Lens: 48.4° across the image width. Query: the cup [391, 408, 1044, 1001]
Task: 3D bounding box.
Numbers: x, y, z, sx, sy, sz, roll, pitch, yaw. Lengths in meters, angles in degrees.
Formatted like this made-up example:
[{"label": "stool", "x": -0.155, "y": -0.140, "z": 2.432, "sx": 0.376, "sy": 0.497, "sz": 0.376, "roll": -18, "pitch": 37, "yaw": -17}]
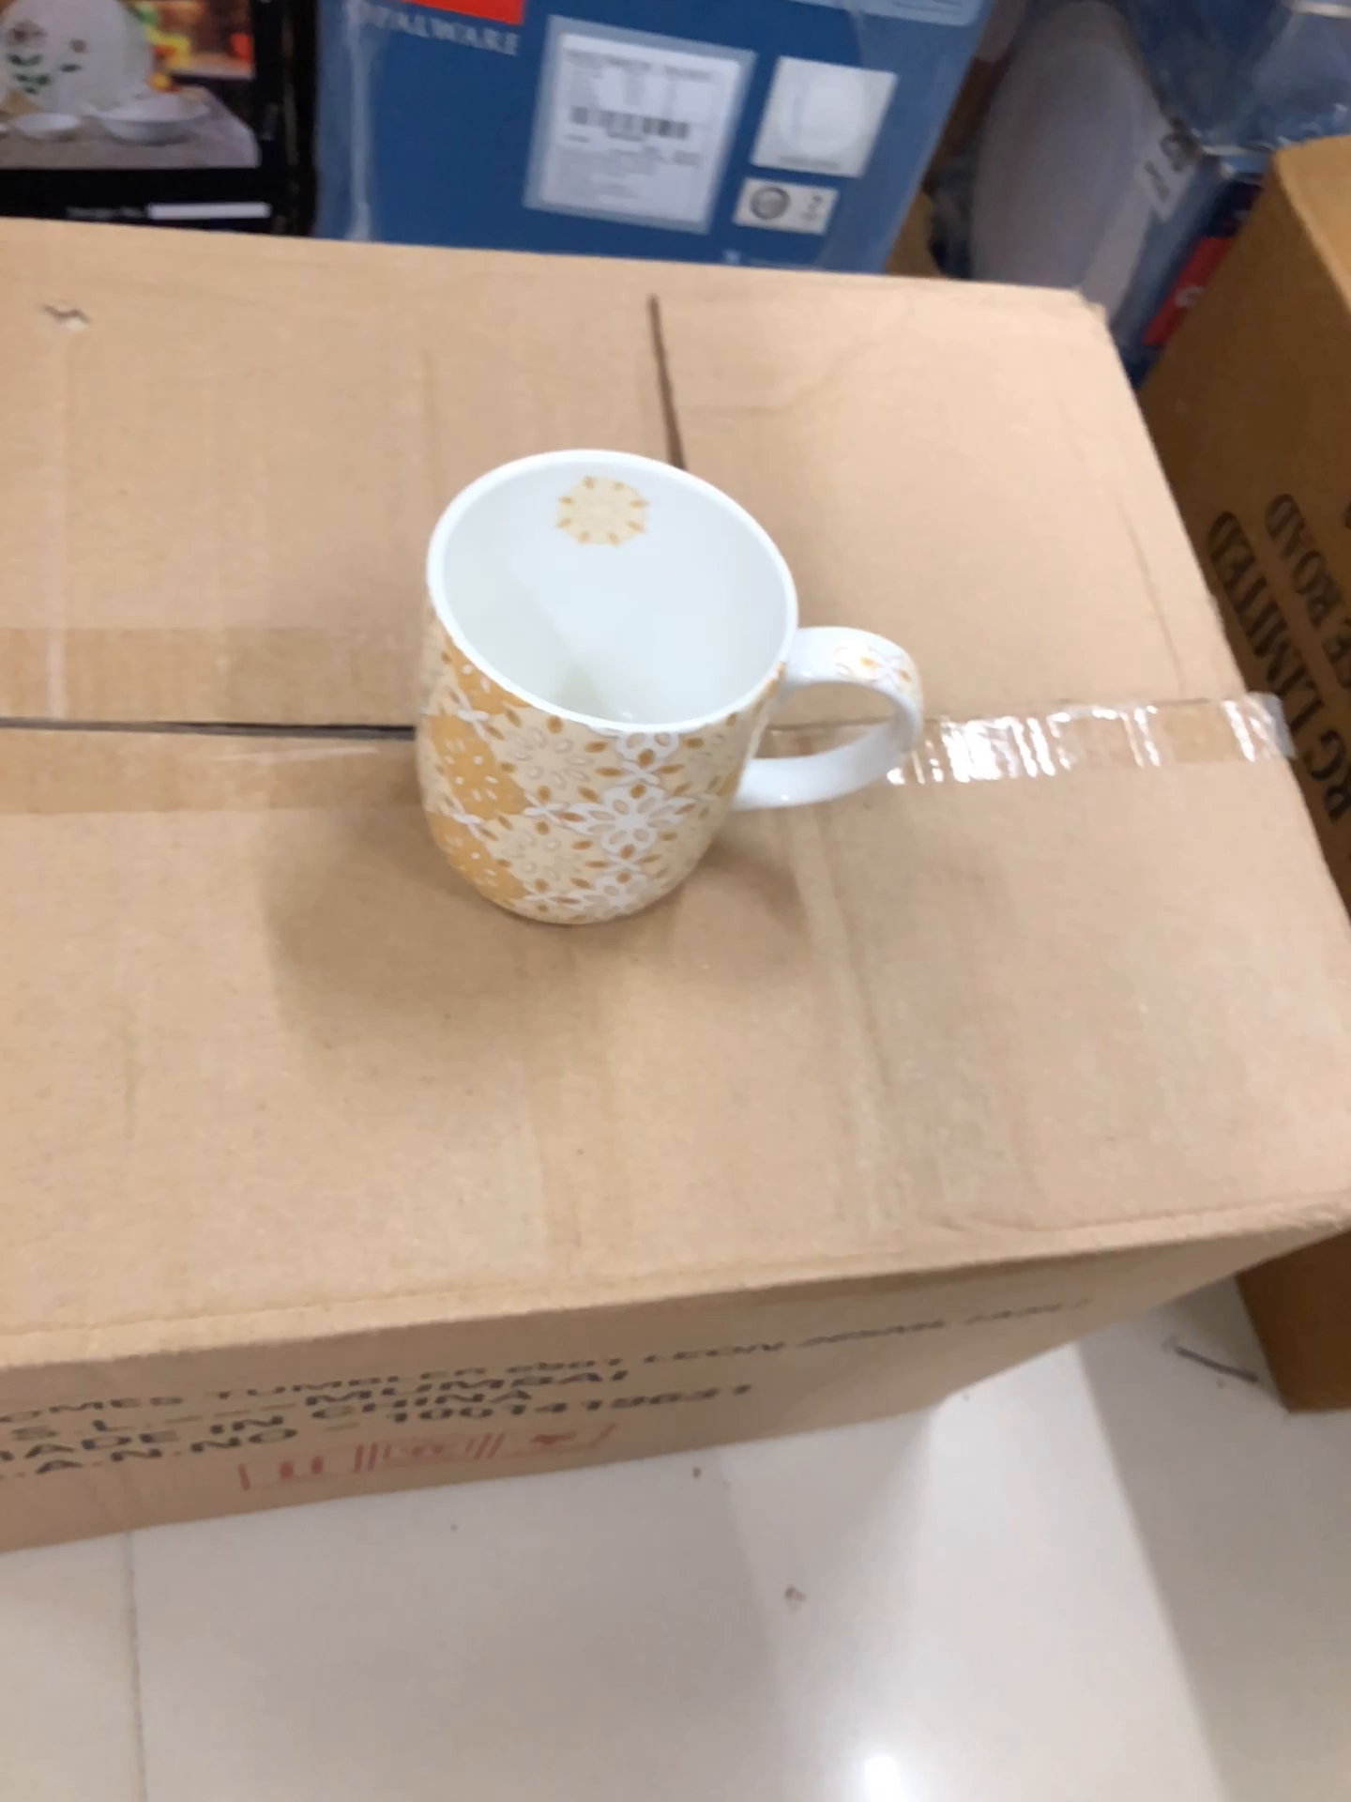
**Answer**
[{"label": "cup", "x": 0.003, "y": -0.039, "z": 0.339, "sx": 0.120, "sy": 0.090, "sz": 0.080, "roll": 6, "pitch": 58, "yaw": -11}]
